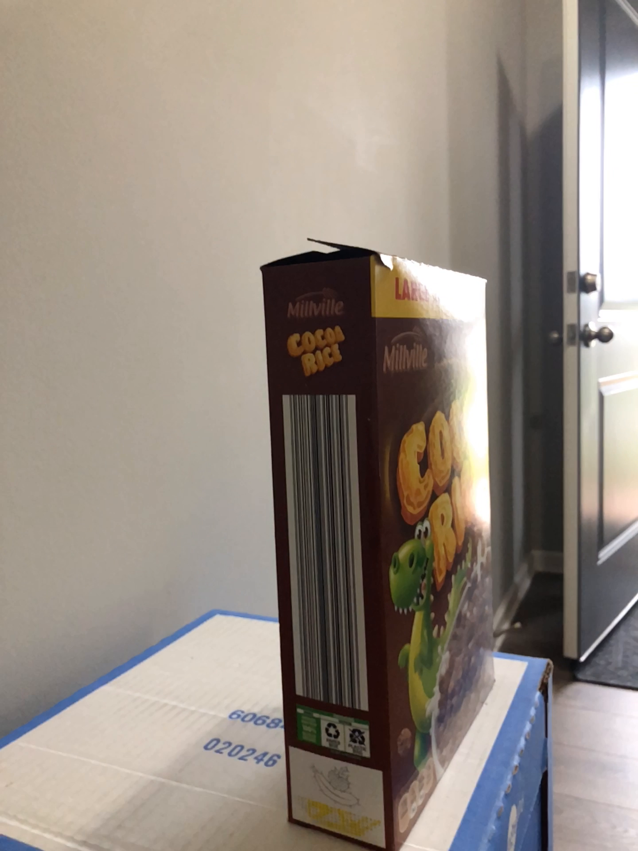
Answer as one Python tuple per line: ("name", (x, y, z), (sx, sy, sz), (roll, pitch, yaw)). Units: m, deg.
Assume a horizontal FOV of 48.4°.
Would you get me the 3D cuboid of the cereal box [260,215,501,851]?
("cereal box", (0.051, 0.045, 0.411), (0.060, 0.290, 0.200), (1, 6, 27))
